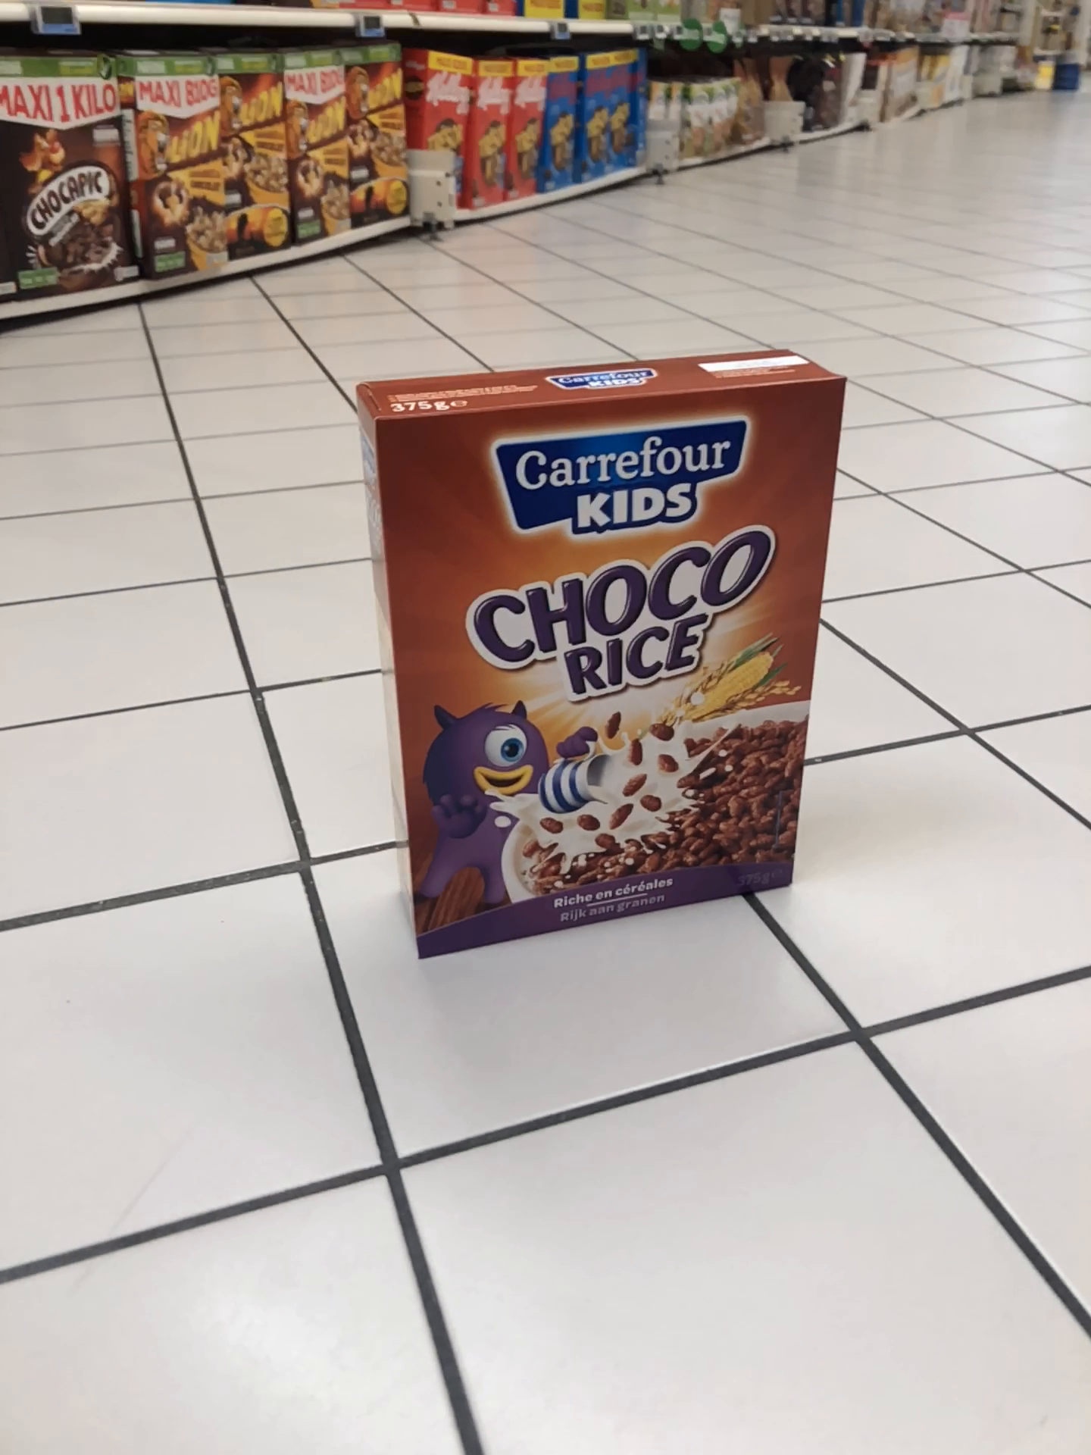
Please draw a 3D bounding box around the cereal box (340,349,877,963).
[{"bbox_3d":[0.025,-0.031,0.530,0.200,0.239,0.070,-9,30,-14],"label":"cereal box"}]
